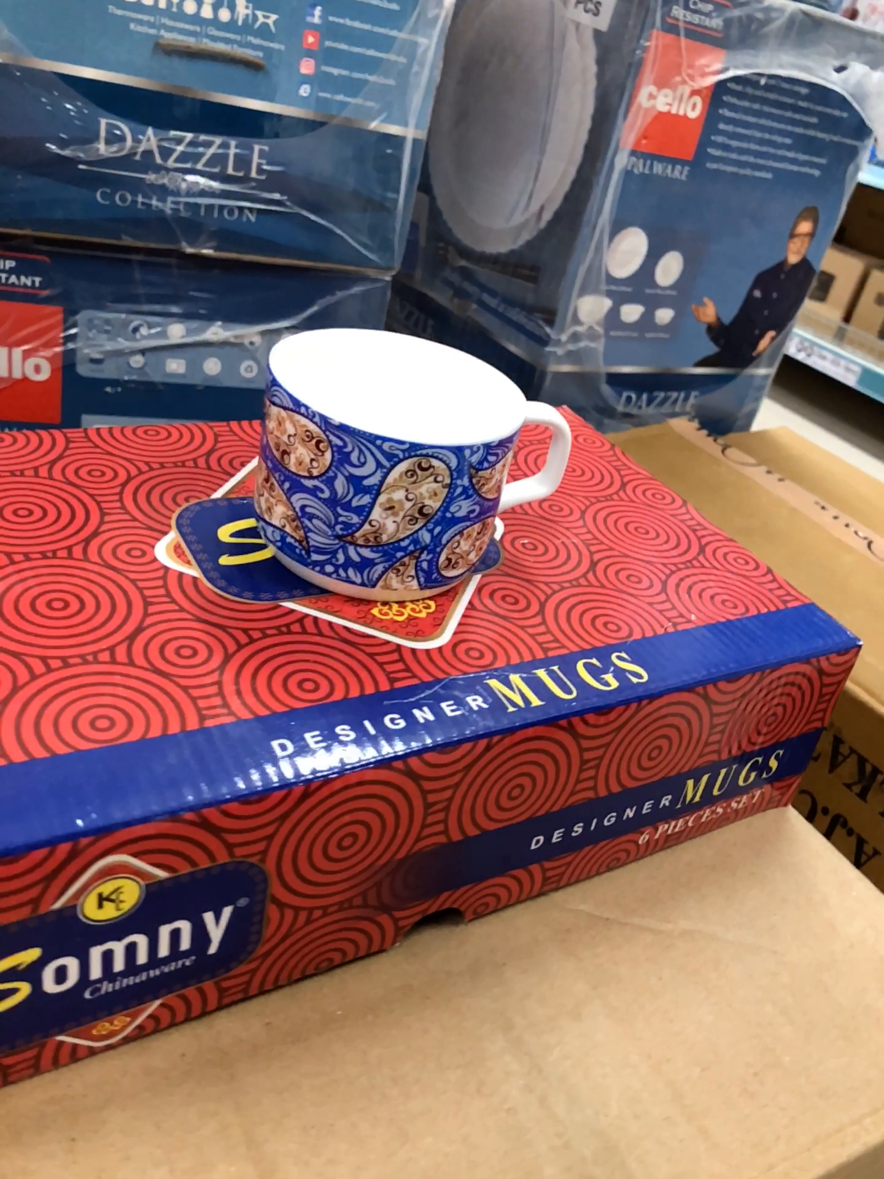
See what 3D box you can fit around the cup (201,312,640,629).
[{"bbox_3d":[-0.011,-0.036,0.287,0.100,0.060,0.070,-2,33,-26],"label":"cup"}]
